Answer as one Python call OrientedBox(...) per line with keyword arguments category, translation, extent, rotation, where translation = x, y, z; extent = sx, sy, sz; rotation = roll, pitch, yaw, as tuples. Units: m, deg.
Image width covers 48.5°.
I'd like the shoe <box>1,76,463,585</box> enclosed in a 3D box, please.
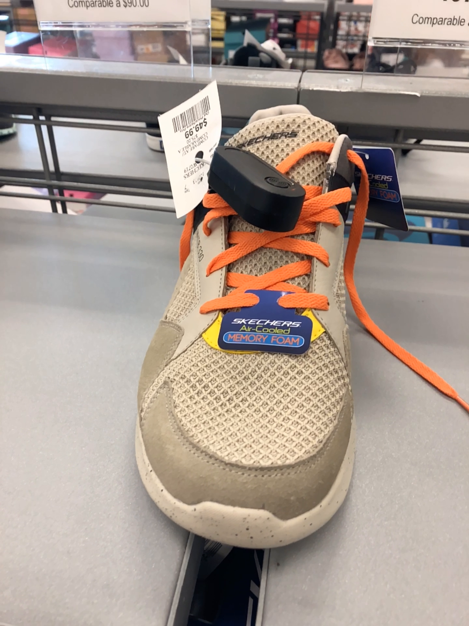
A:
OrientedBox(category="shoe", translation=(0.010, -0.029, 0.283), extent=(0.125, 0.109, 0.282), rotation=(4, 40, 4))
